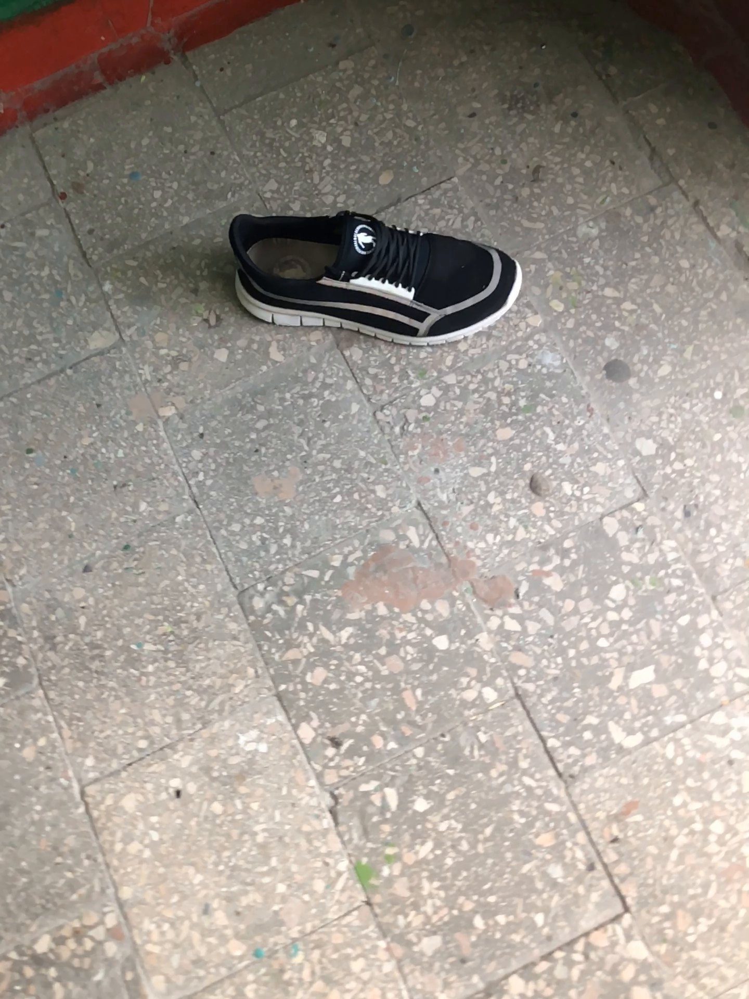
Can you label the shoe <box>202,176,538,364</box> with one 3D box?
[{"bbox_3d":[0.000,-0.211,0.769,0.280,0.120,0.100,7,76,6],"label":"shoe"}]
